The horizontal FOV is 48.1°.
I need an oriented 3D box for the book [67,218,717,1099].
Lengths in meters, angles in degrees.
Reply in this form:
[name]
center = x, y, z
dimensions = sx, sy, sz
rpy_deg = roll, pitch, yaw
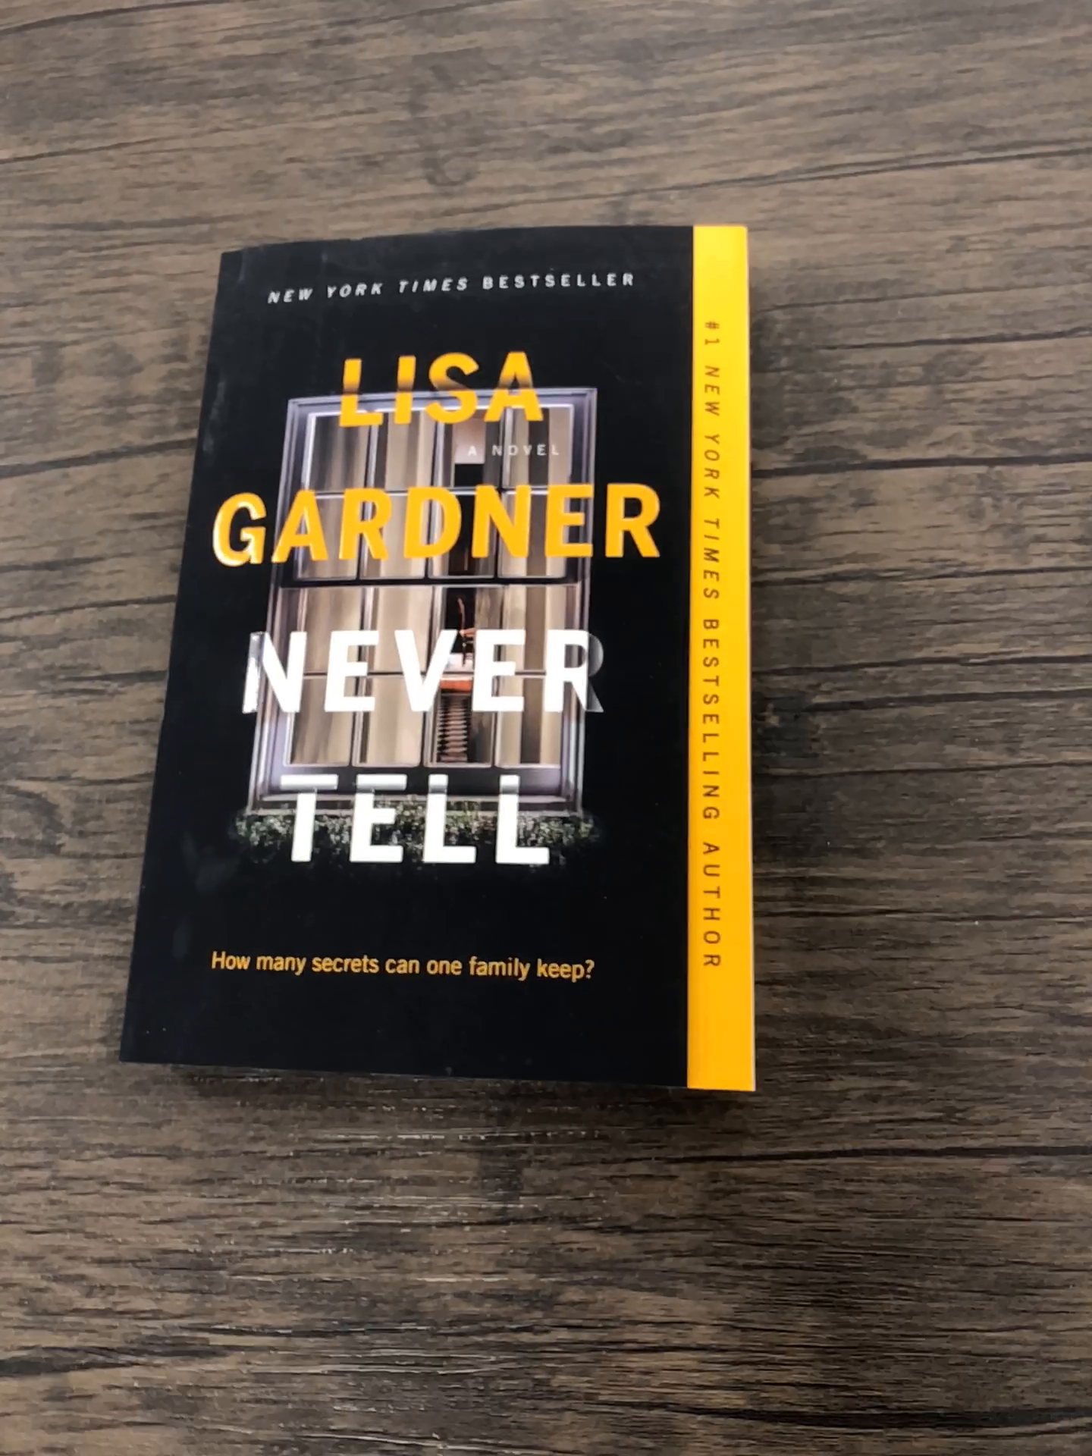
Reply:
[book]
center = -0.028, -0.022, 0.296
dimensions = 0.137, 0.032, 0.207
rpy_deg = 1, 74, 8
